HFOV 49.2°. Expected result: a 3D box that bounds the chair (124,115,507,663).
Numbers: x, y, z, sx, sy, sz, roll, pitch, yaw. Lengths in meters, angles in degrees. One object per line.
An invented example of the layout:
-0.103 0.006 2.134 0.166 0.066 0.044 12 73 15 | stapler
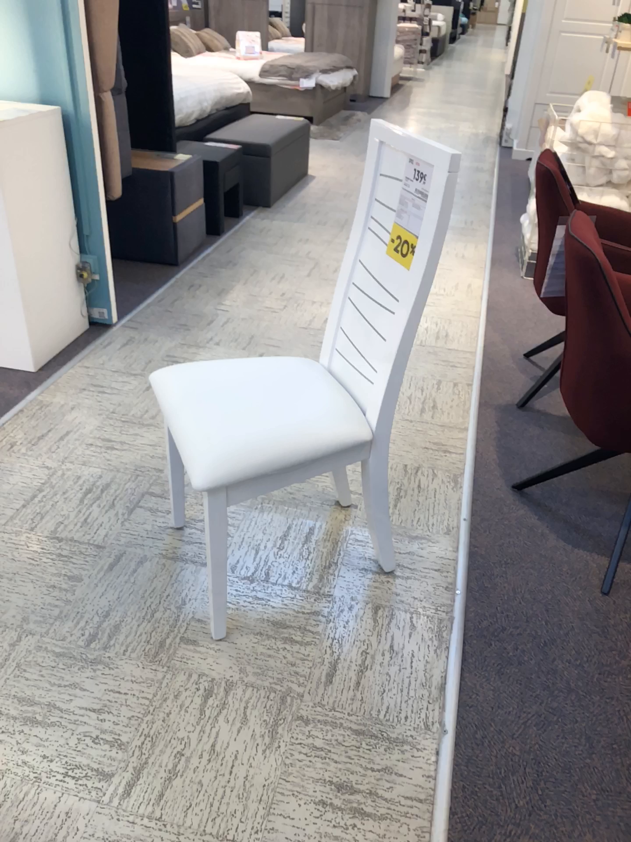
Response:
-0.049 -0.072 1.473 0.541 1.004 0.452 -10 34 -21 | chair
